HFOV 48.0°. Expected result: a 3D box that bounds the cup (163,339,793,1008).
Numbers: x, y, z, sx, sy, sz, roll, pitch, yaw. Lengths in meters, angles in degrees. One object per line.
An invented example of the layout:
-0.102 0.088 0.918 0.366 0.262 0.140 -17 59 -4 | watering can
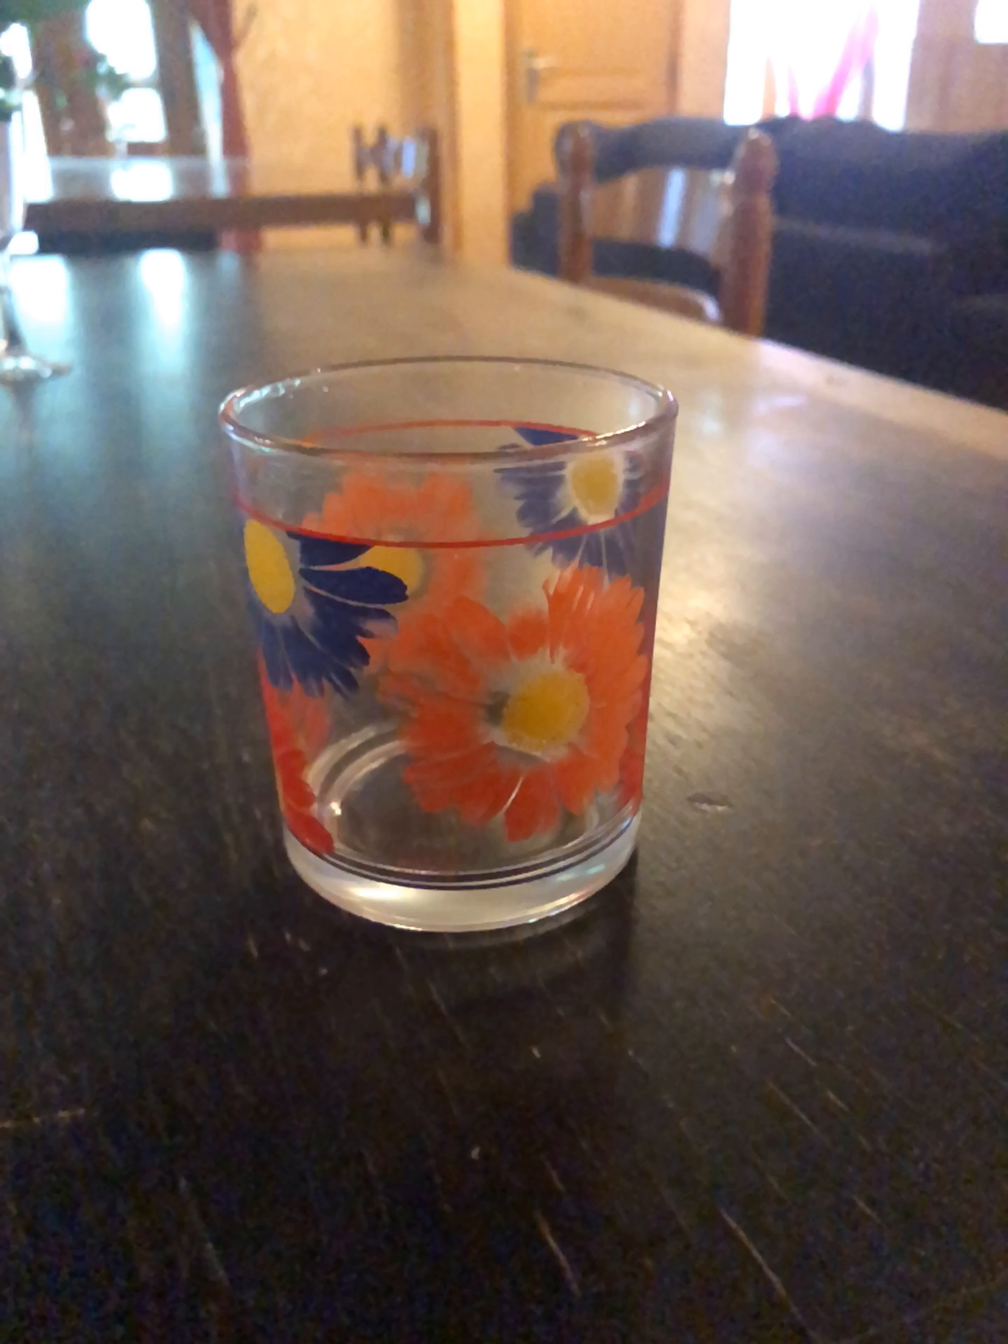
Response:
-0.009 -0.008 0.193 0.078 0.079 0.076 -1 25 0 | cup
